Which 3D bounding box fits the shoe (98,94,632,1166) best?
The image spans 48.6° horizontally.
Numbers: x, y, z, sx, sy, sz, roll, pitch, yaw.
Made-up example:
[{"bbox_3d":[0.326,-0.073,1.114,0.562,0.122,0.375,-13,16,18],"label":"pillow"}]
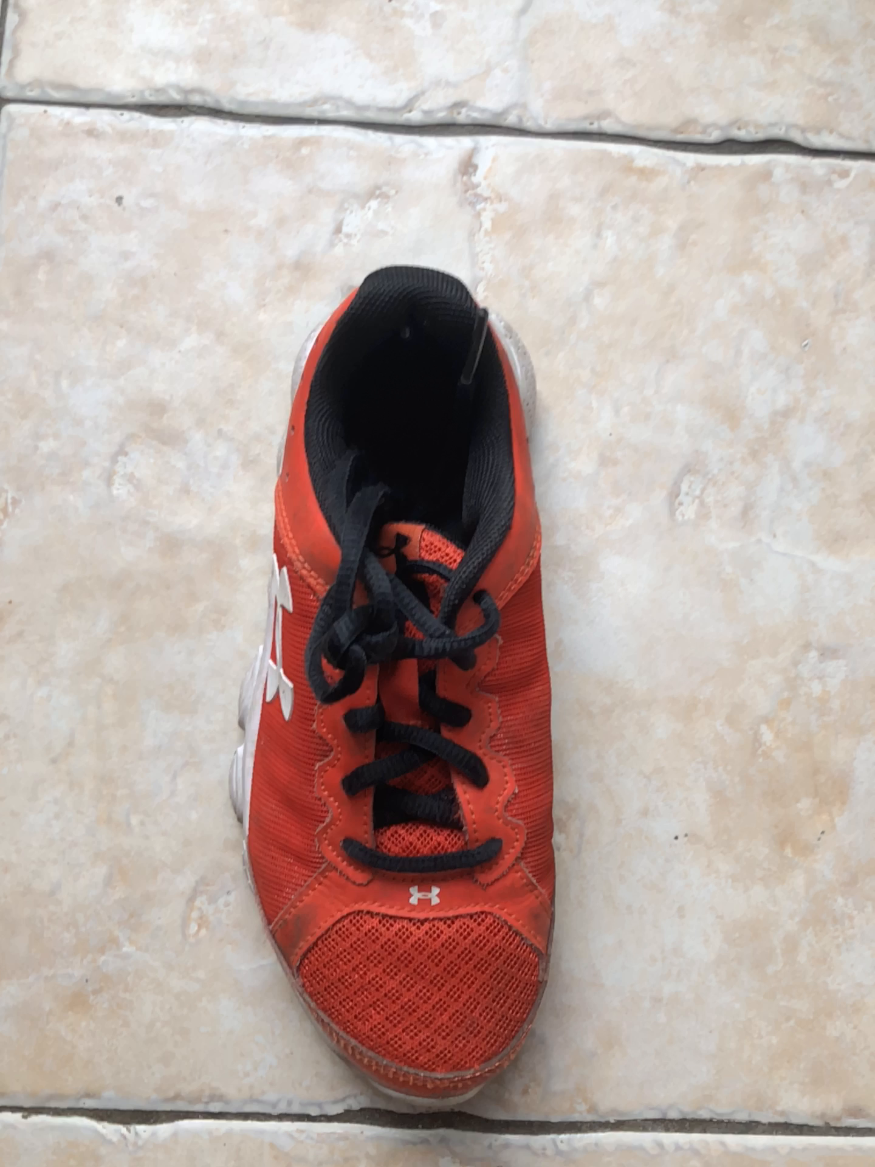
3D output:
[{"bbox_3d":[-0.012,0.021,0.243,0.100,0.100,0.240,1,84,-1],"label":"shoe"}]
